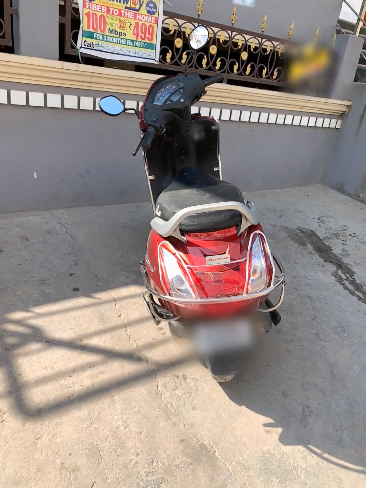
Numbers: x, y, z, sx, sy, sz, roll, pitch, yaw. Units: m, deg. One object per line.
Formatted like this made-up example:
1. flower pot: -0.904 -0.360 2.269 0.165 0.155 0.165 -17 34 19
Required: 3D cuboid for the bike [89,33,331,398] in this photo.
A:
1. bike: -0.155 -0.375 1.967 0.623 1.163 1.763 2 28 -14
